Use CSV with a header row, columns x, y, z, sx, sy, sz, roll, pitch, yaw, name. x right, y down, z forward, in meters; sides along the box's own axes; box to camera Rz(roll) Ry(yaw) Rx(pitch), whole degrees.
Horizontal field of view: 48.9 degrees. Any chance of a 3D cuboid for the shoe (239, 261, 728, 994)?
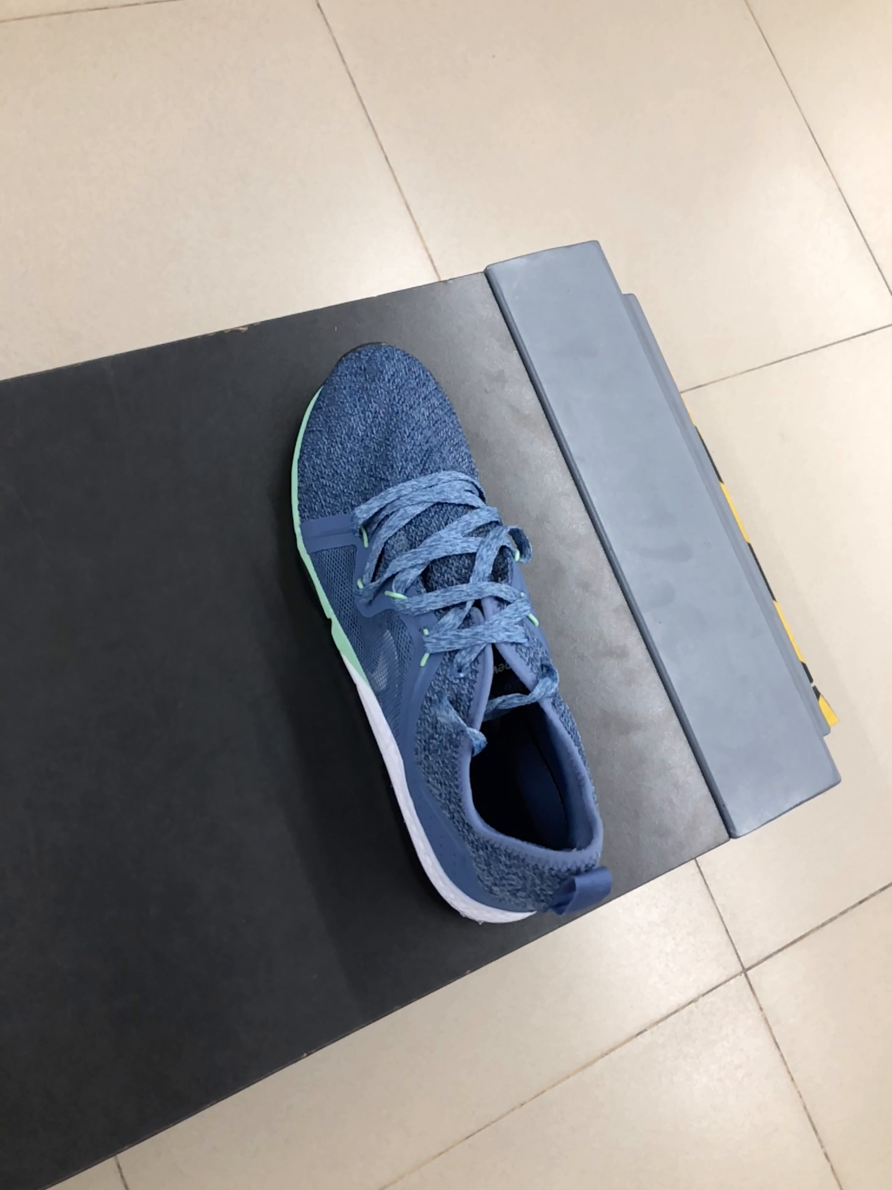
x,y,z,sx,sy,sz,roll,pitch,yaw,name
0.007,0.009,0.427,0.100,0.080,0.280,-18,82,-21,shoe
